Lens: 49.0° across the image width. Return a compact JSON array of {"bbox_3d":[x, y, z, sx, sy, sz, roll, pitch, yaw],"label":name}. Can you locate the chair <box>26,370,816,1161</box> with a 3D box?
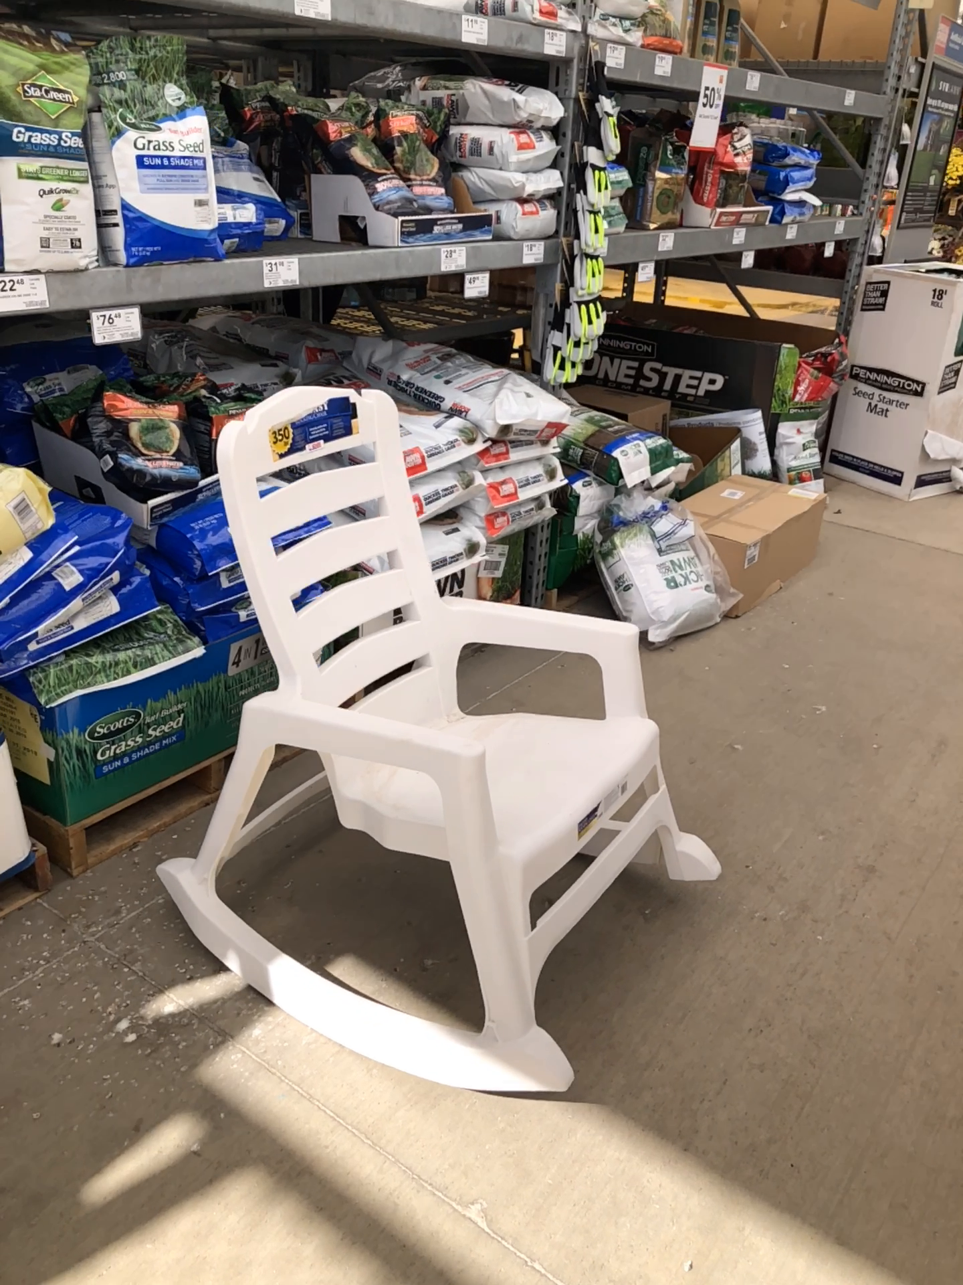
[{"bbox_3d":[-0.089,0.076,1.952,1.031,0.928,0.848,16,25,27],"label":"chair"}]
